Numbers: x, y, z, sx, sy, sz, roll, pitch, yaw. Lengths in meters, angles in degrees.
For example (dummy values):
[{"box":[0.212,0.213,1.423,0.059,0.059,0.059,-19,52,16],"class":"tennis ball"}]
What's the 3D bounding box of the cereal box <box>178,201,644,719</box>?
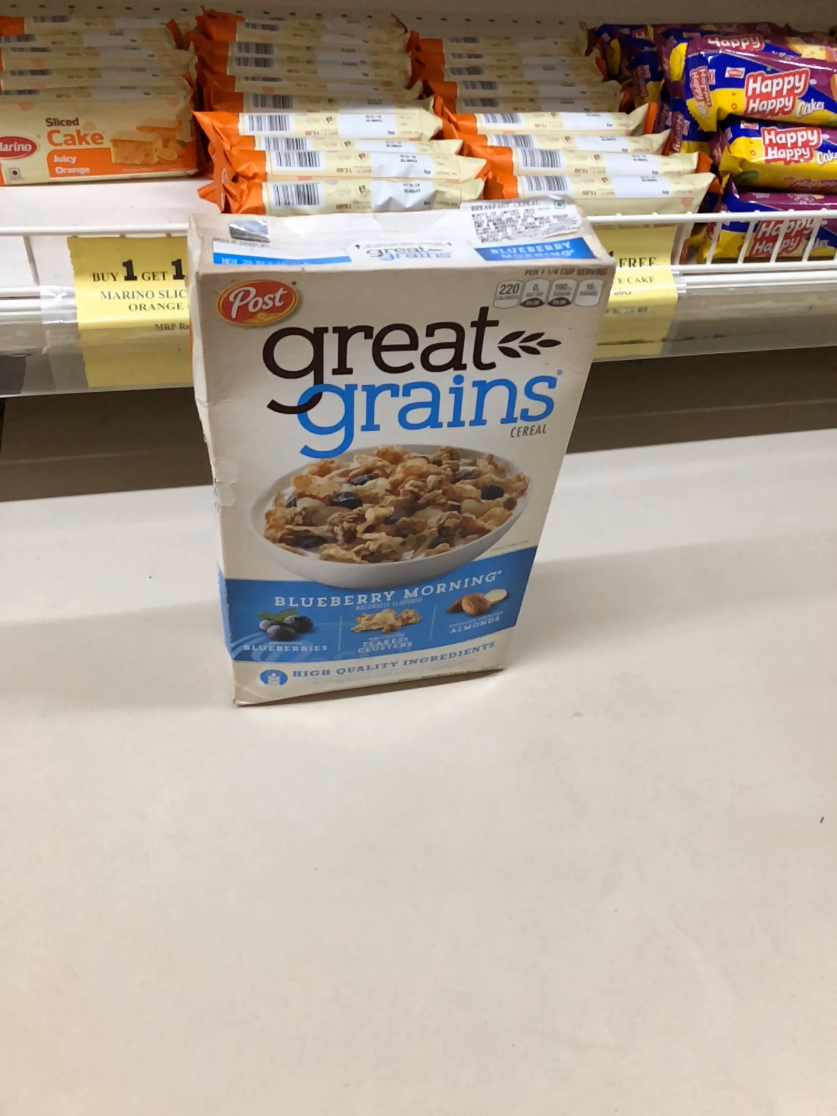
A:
[{"box":[-0.016,-0.033,0.446,0.170,0.258,0.060,-6,47,-14],"class":"cereal box"}]
